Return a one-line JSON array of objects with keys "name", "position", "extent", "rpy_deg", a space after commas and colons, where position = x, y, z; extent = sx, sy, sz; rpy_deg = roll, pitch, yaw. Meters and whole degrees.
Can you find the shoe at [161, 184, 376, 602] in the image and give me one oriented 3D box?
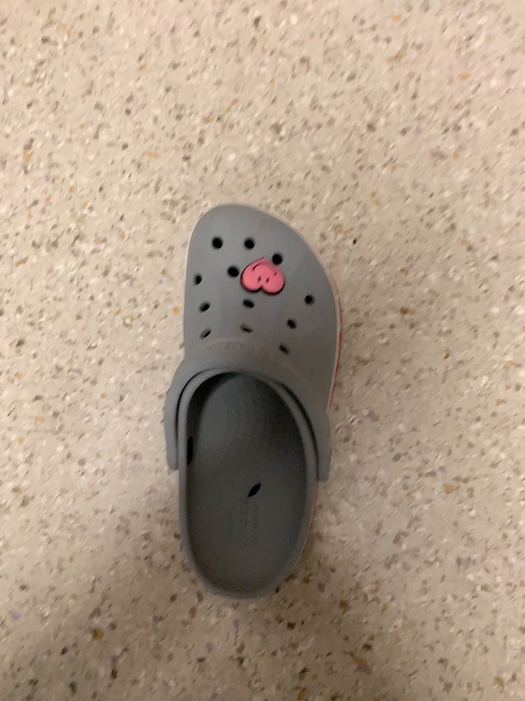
[{"name": "shoe", "position": [0.006, 0.022, 0.338], "extent": [0.109, 0.091, 0.226], "rpy_deg": [1, 79, 2]}]
